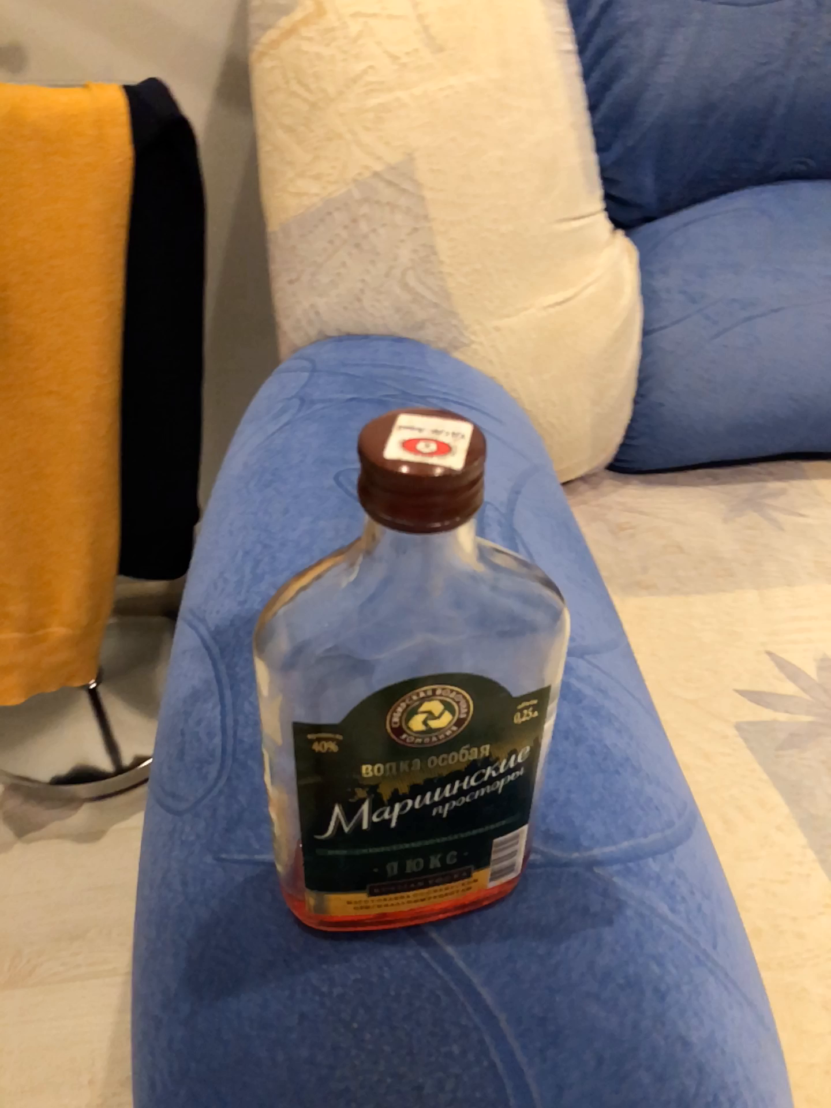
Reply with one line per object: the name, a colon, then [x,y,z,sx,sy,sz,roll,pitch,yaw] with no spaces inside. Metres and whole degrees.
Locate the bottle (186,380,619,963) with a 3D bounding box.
bottle: [-0.005,0.044,0.259,0.090,0.179,0.040,-7,40,-8]
